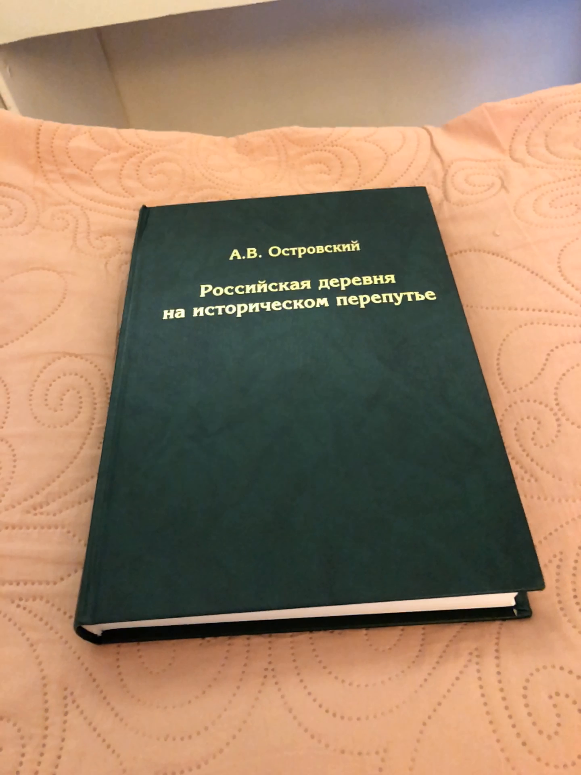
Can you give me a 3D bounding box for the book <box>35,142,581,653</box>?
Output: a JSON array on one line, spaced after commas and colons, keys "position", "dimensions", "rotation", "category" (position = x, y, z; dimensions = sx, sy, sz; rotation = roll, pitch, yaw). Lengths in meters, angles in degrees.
[{"position": [0.005, -0.018, 0.289], "dimensions": [0.180, 0.040, 0.241], "rotation": [-5, 52, 1], "category": "book"}]
